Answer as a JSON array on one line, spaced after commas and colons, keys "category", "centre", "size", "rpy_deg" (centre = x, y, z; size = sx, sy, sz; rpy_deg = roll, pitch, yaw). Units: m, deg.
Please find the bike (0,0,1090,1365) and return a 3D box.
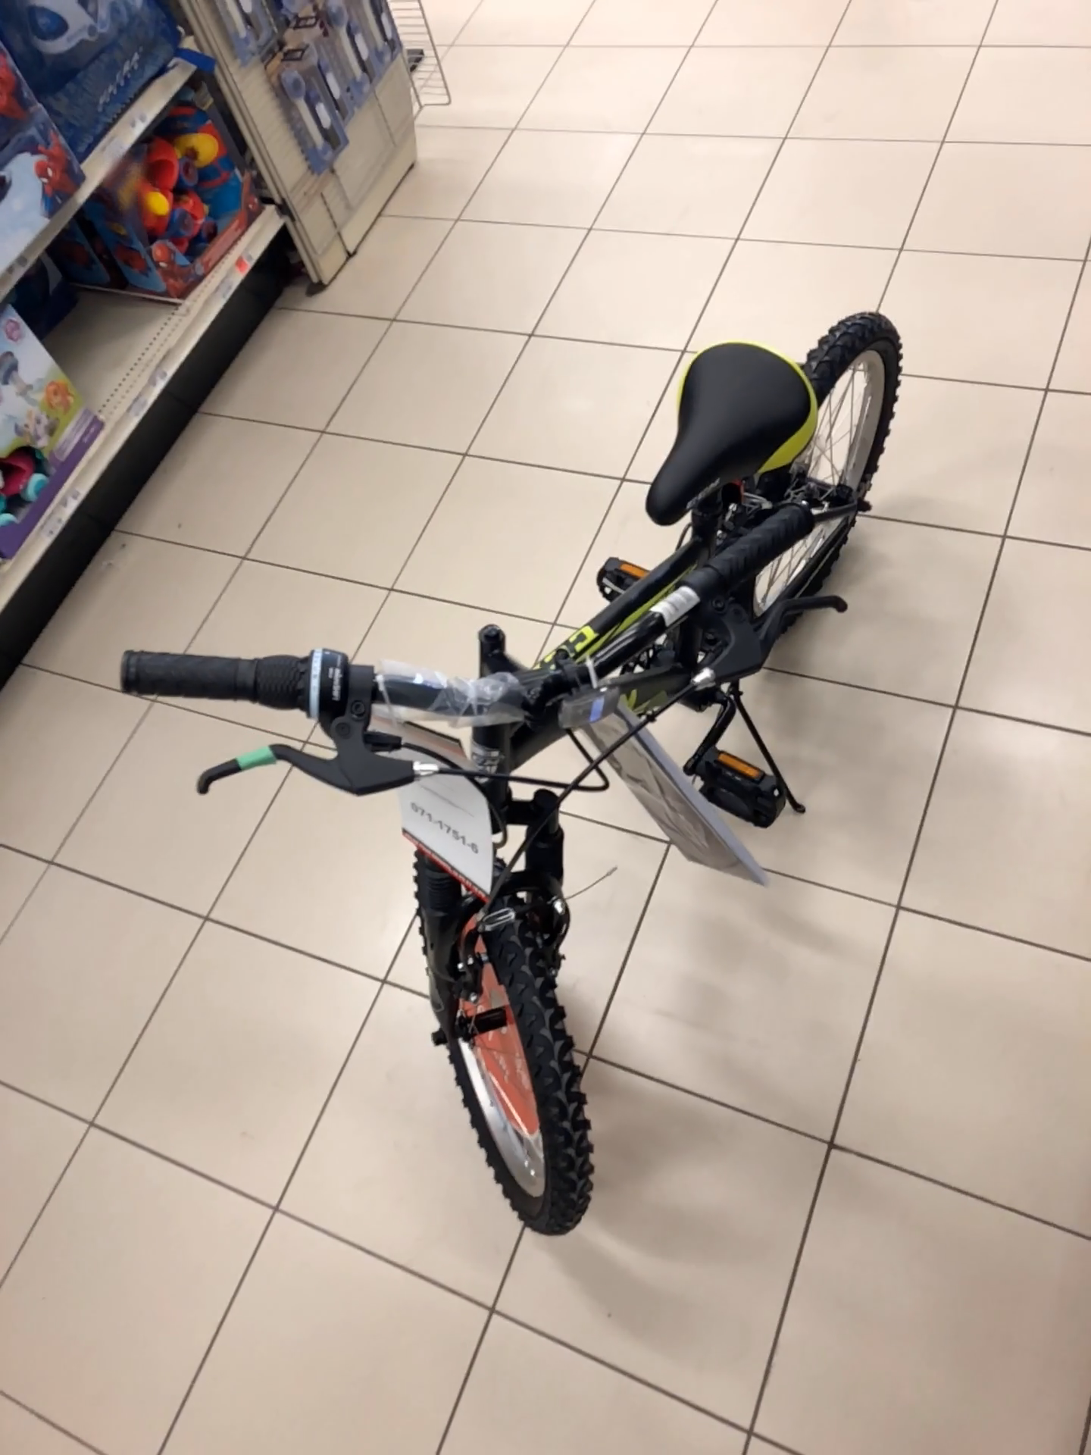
[{"category": "bike", "centre": [0.199, -0.114, 1.253], "size": [0.550, 0.861, 1.197], "rpy_deg": [15, 63, 23]}]
